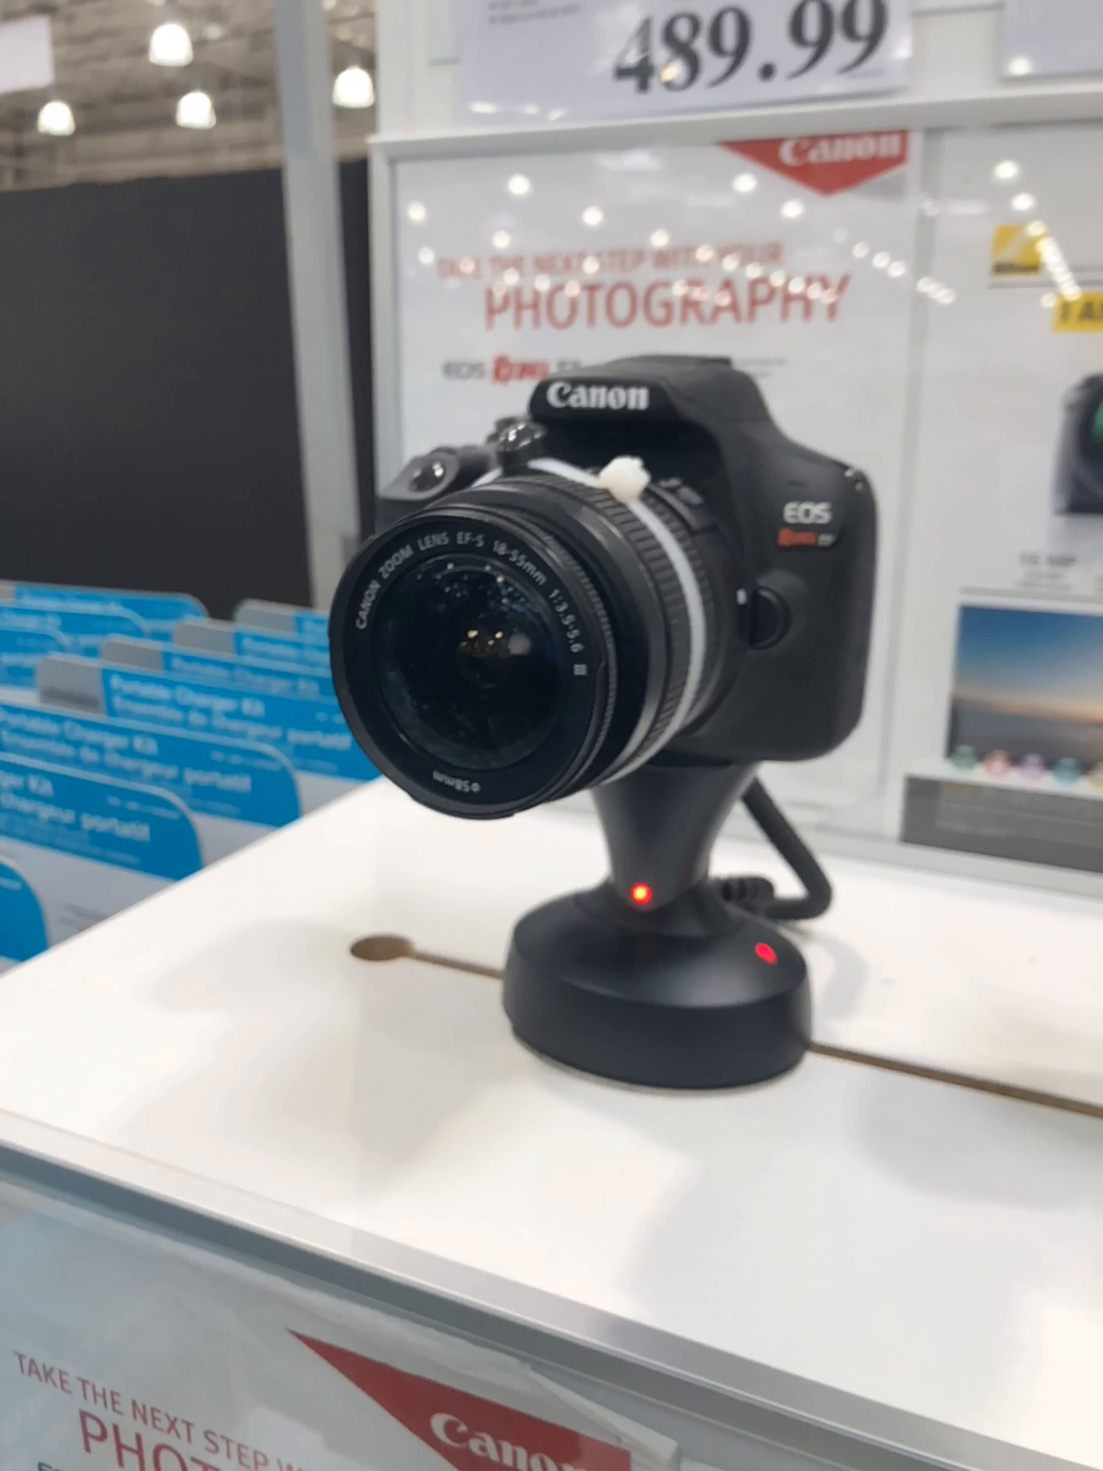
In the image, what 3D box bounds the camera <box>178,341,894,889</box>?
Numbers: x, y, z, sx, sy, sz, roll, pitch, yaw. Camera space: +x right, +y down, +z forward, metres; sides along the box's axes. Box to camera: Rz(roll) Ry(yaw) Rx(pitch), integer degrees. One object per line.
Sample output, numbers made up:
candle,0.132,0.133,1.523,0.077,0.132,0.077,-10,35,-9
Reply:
camera,0.005,-0.040,0.300,0.130,0.100,0.120,7,16,21
